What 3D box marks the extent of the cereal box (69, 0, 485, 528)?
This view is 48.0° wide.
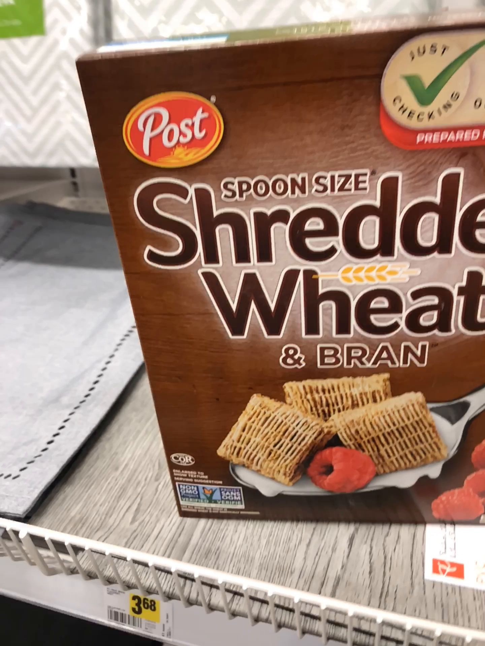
[{"bbox_3d":[0.051,-0.011,0.280,0.200,0.259,0.070,0,33,7],"label":"cereal box"}]
